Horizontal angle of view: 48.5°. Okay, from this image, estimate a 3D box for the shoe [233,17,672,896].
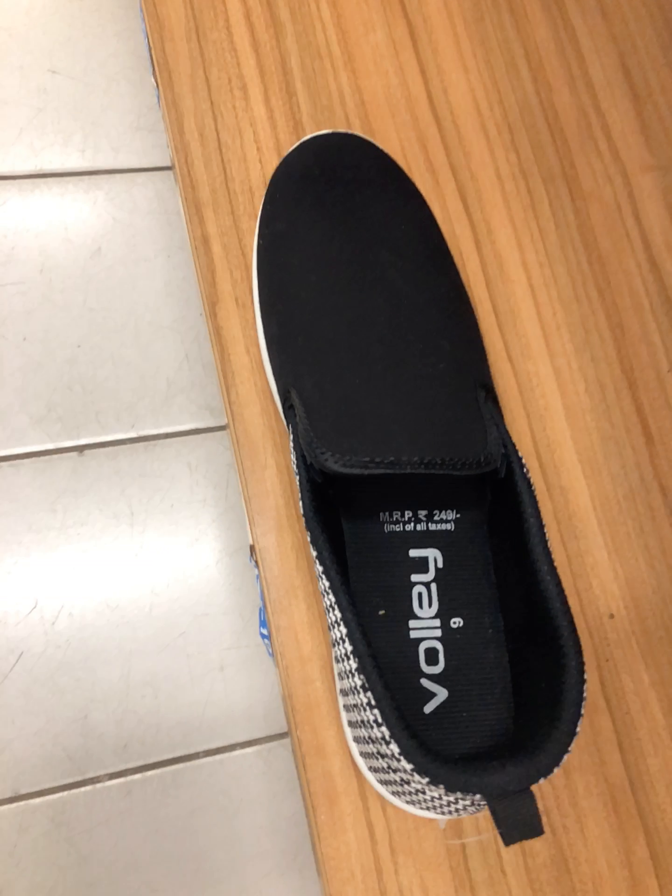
[{"bbox_3d":[0.035,-0.003,0.277,0.100,0.090,0.290,-8,77,-13],"label":"shoe"}]
